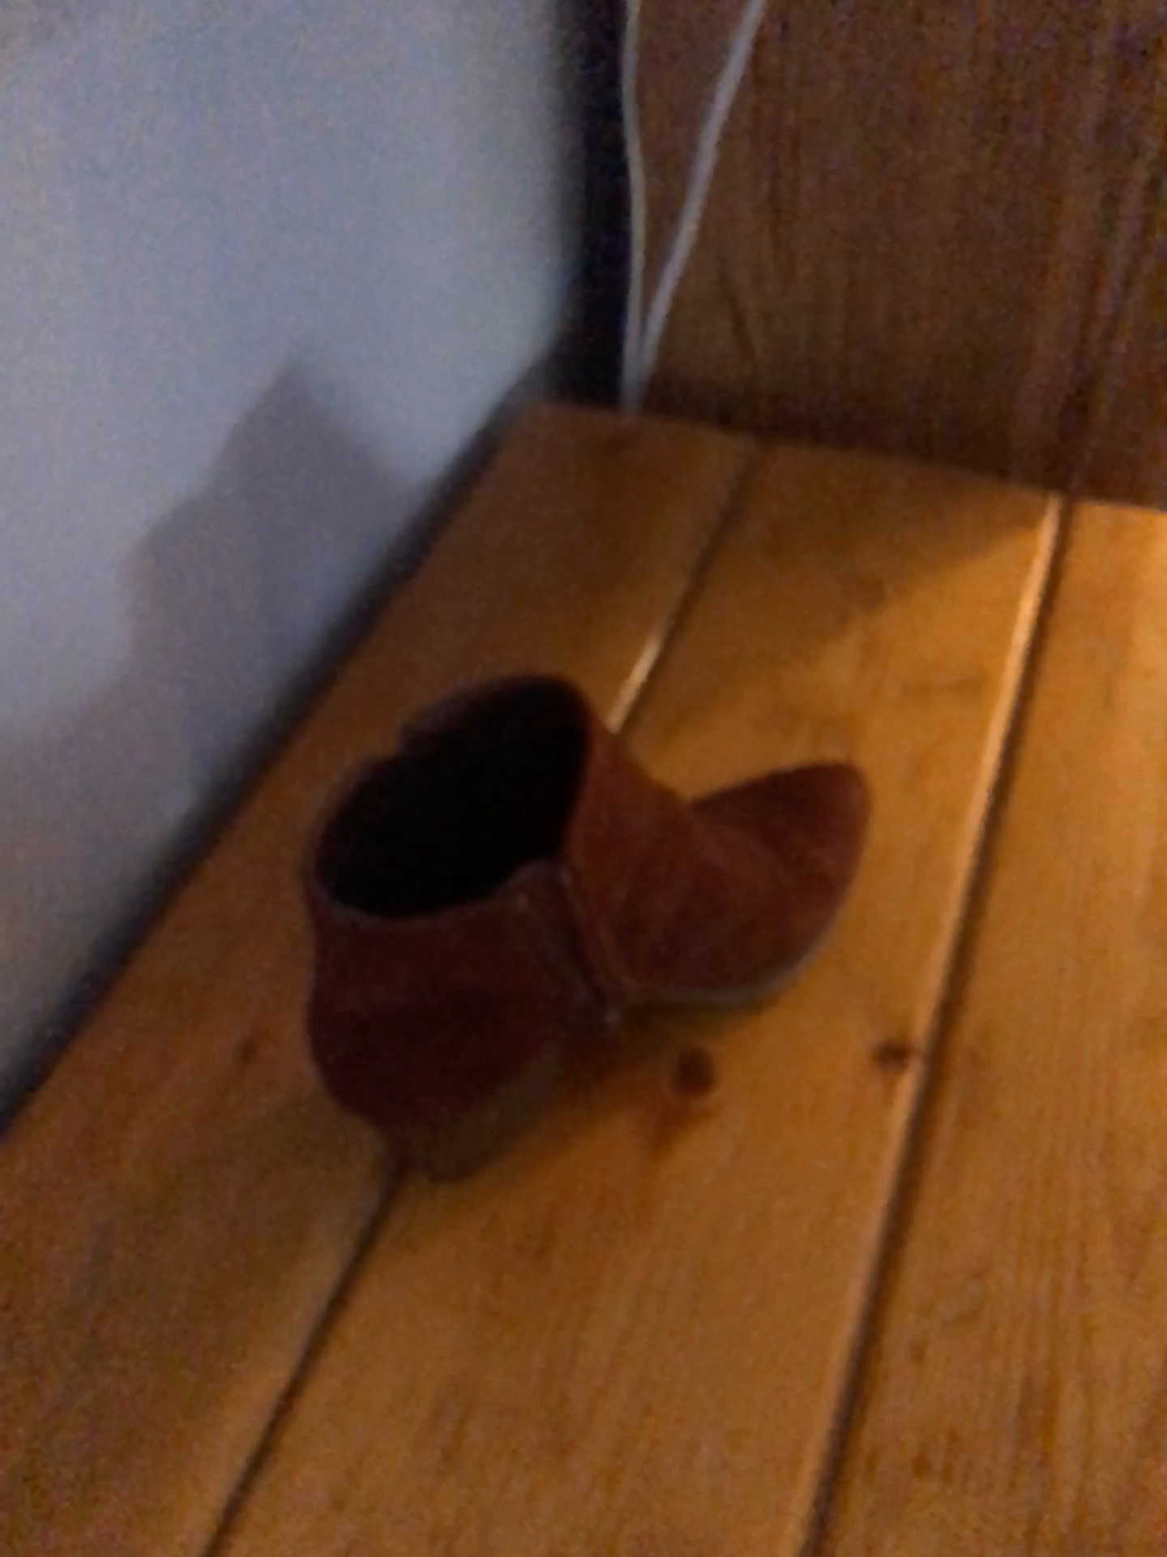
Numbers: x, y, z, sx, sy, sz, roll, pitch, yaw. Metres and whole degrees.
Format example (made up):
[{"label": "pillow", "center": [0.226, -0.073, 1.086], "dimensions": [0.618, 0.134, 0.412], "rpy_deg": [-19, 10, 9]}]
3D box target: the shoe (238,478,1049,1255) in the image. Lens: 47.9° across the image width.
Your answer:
[{"label": "shoe", "center": [0.029, 0.026, 0.462], "dimensions": [0.250, 0.150, 0.090], "rpy_deg": [-31, 54, -23]}]
